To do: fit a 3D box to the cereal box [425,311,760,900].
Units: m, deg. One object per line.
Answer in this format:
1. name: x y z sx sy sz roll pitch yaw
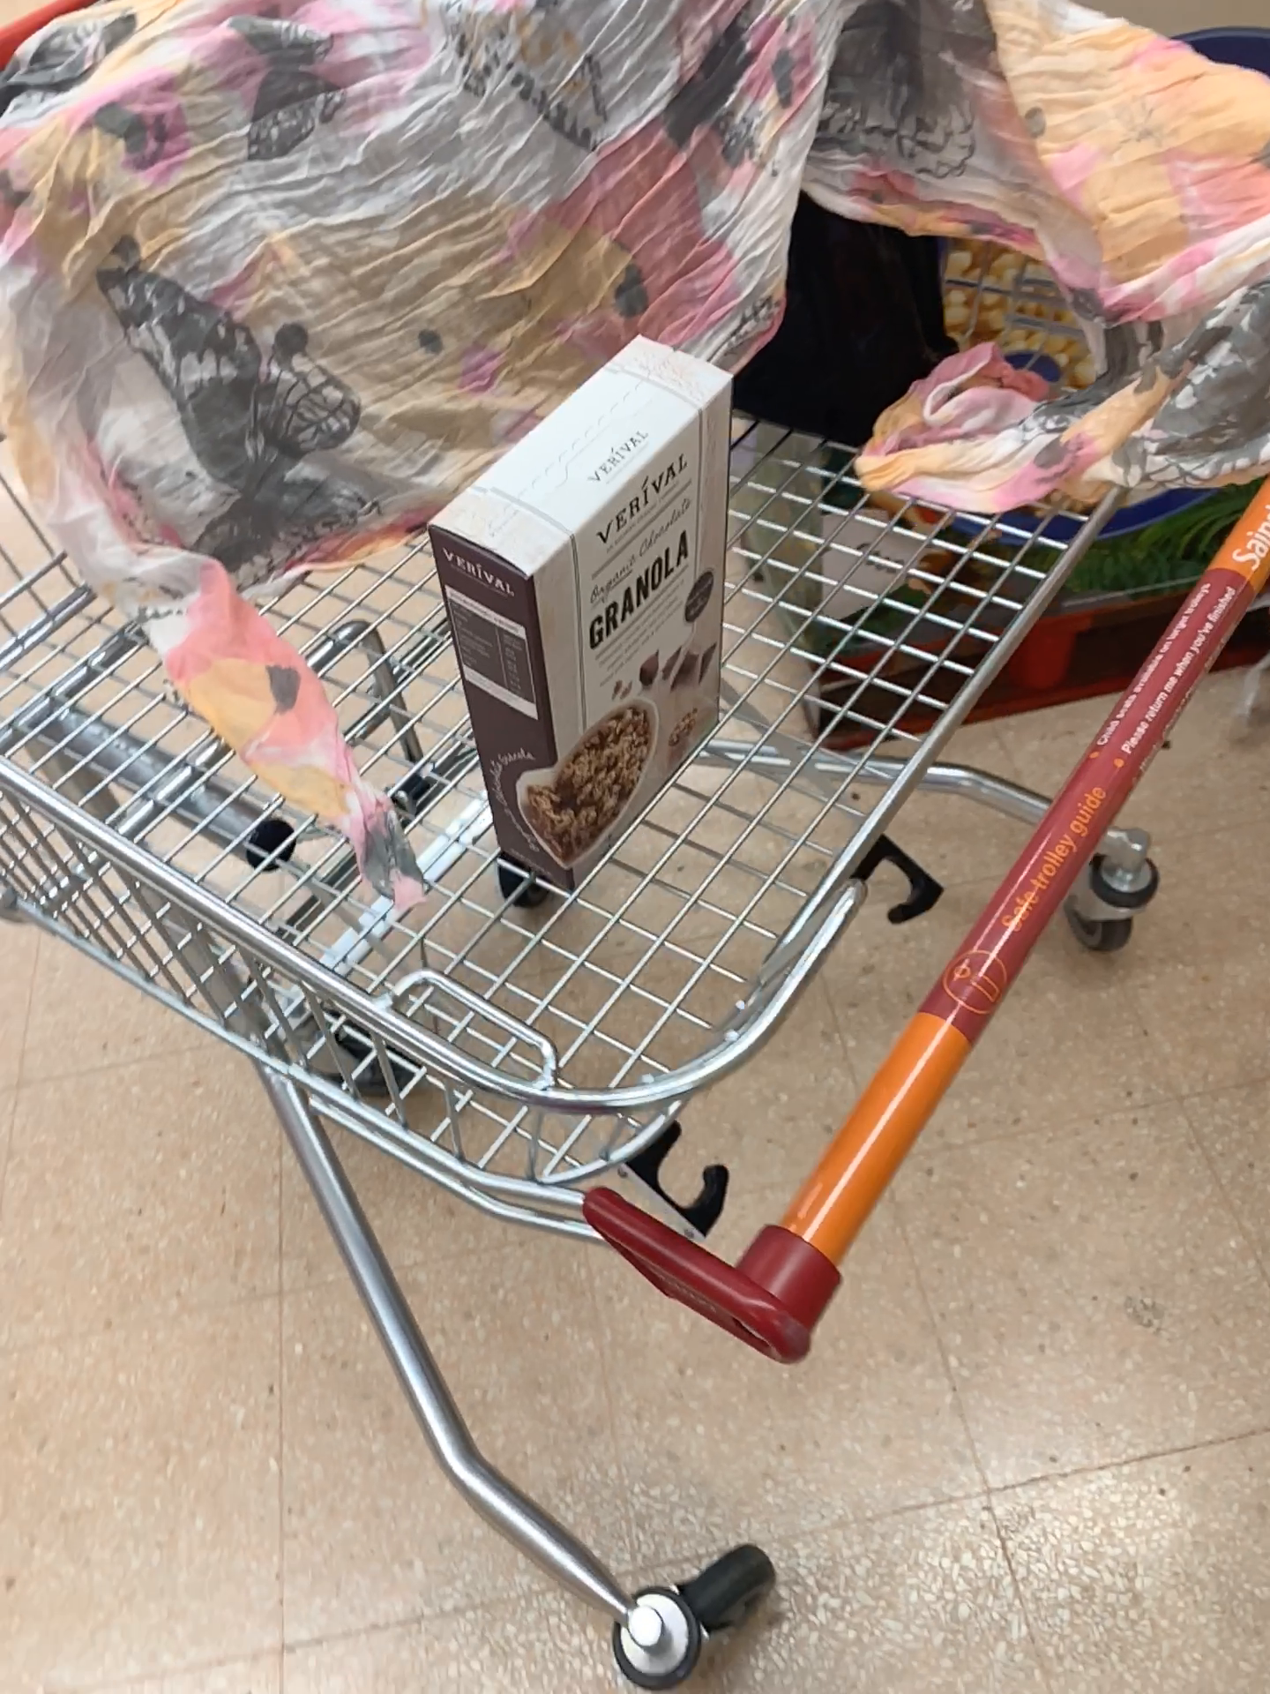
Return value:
1. cereal box: -0.012 -0.095 0.575 0.050 0.218 0.141 31 61 20
